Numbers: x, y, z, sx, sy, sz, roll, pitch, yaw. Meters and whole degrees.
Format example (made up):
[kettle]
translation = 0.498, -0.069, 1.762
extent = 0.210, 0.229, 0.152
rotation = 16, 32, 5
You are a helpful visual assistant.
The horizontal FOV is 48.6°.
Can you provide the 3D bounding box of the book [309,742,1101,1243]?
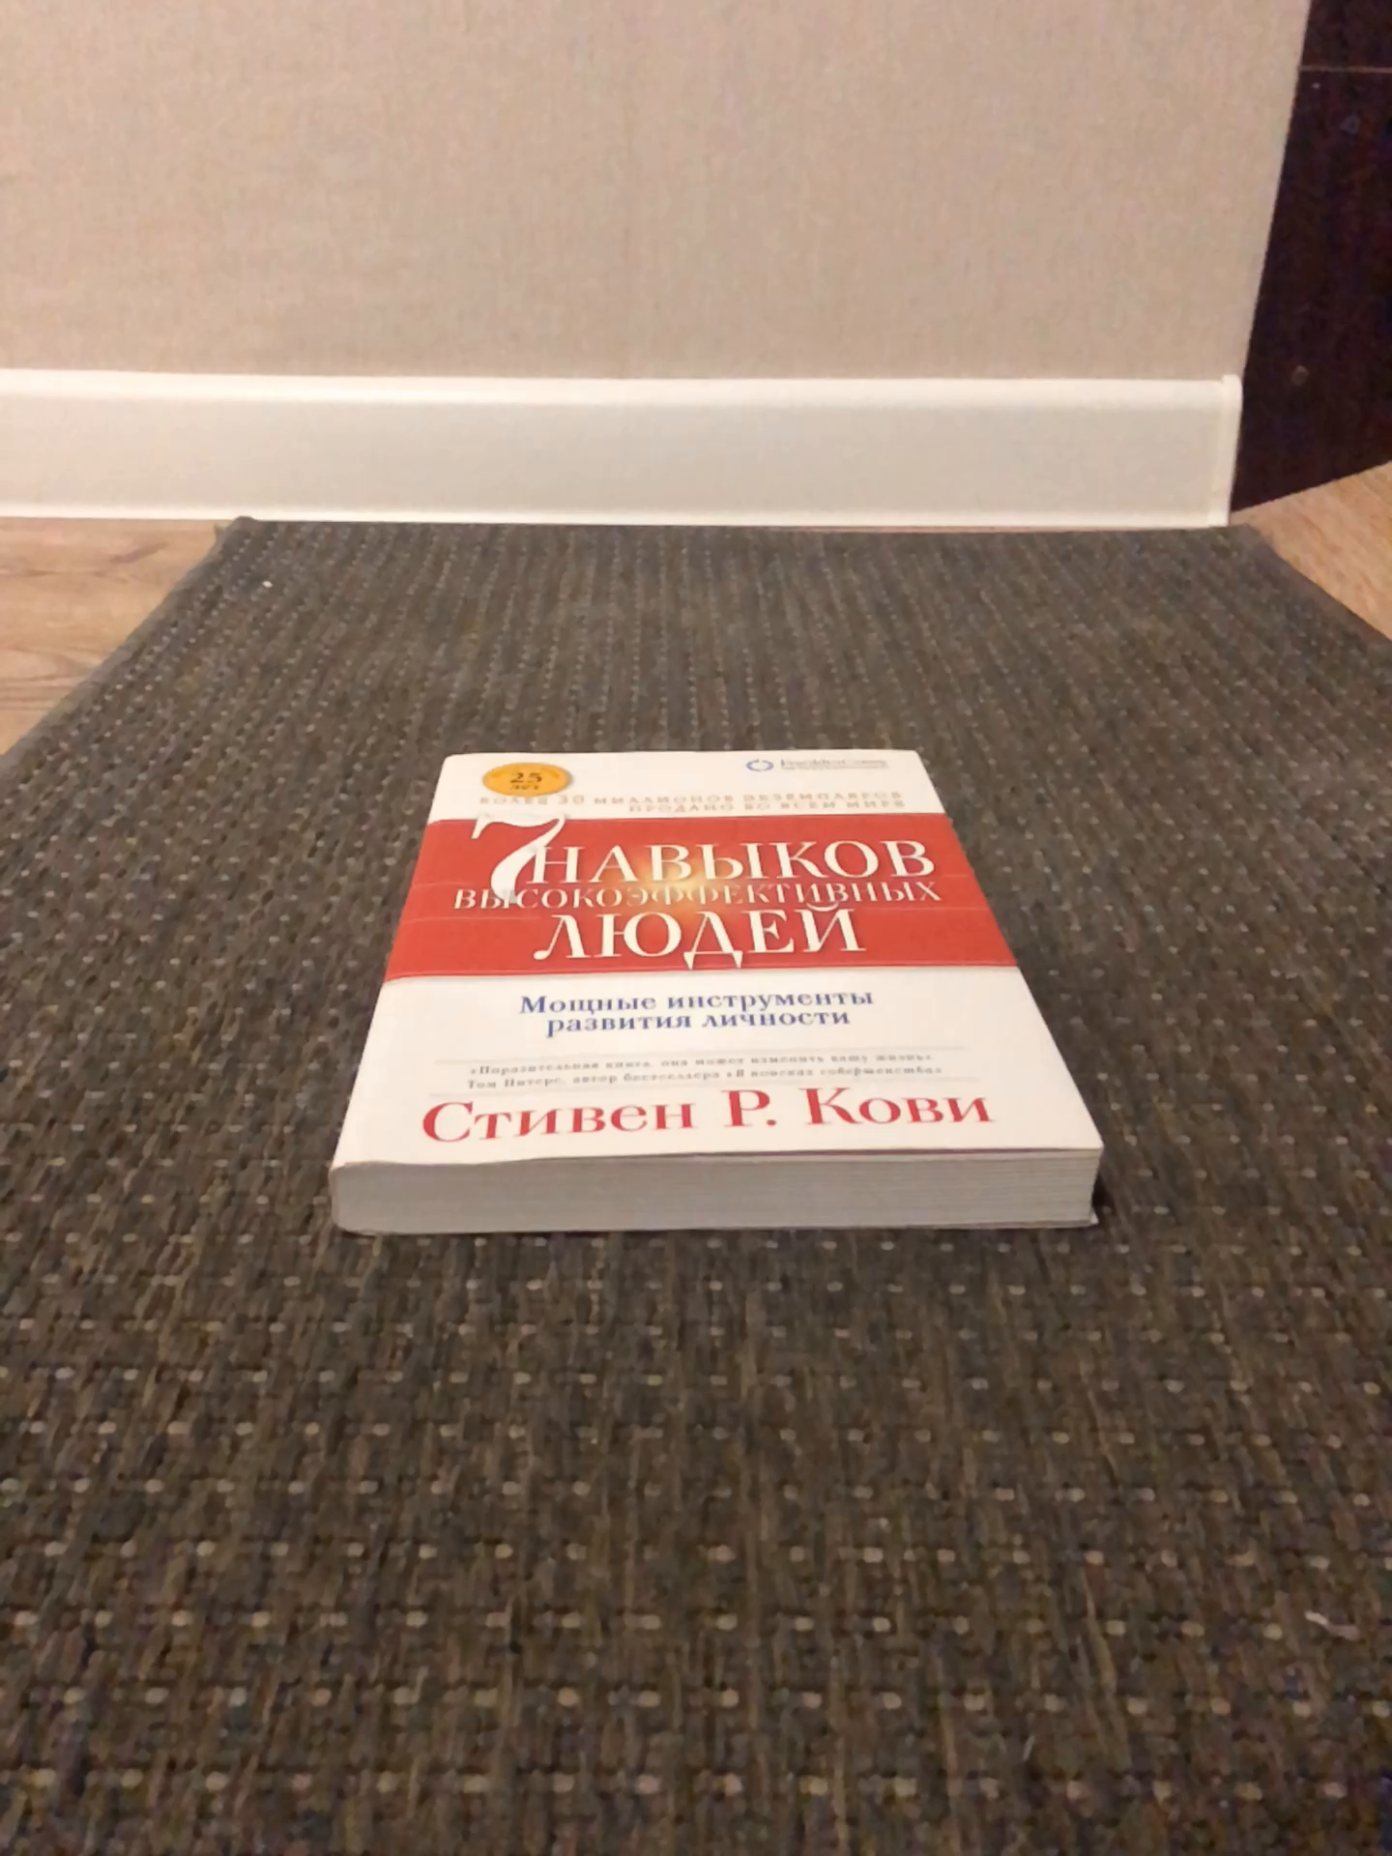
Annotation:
[book]
translation = -0.001, 0.002, 0.432
extent = 0.166, 0.020, 0.237
rotation = -1, 28, -1
